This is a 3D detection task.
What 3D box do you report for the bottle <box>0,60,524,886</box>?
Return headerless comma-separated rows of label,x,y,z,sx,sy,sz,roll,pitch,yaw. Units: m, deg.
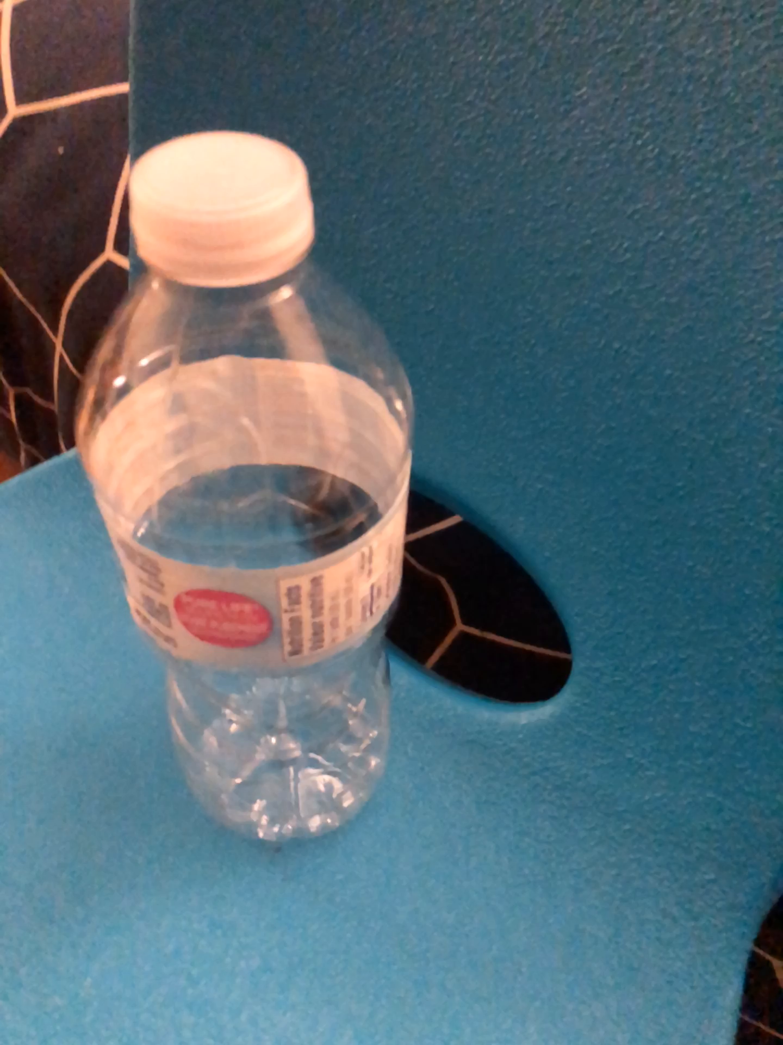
bottle,-0.033,0.005,0.203,0.070,0.189,0.070,4,46,-4
